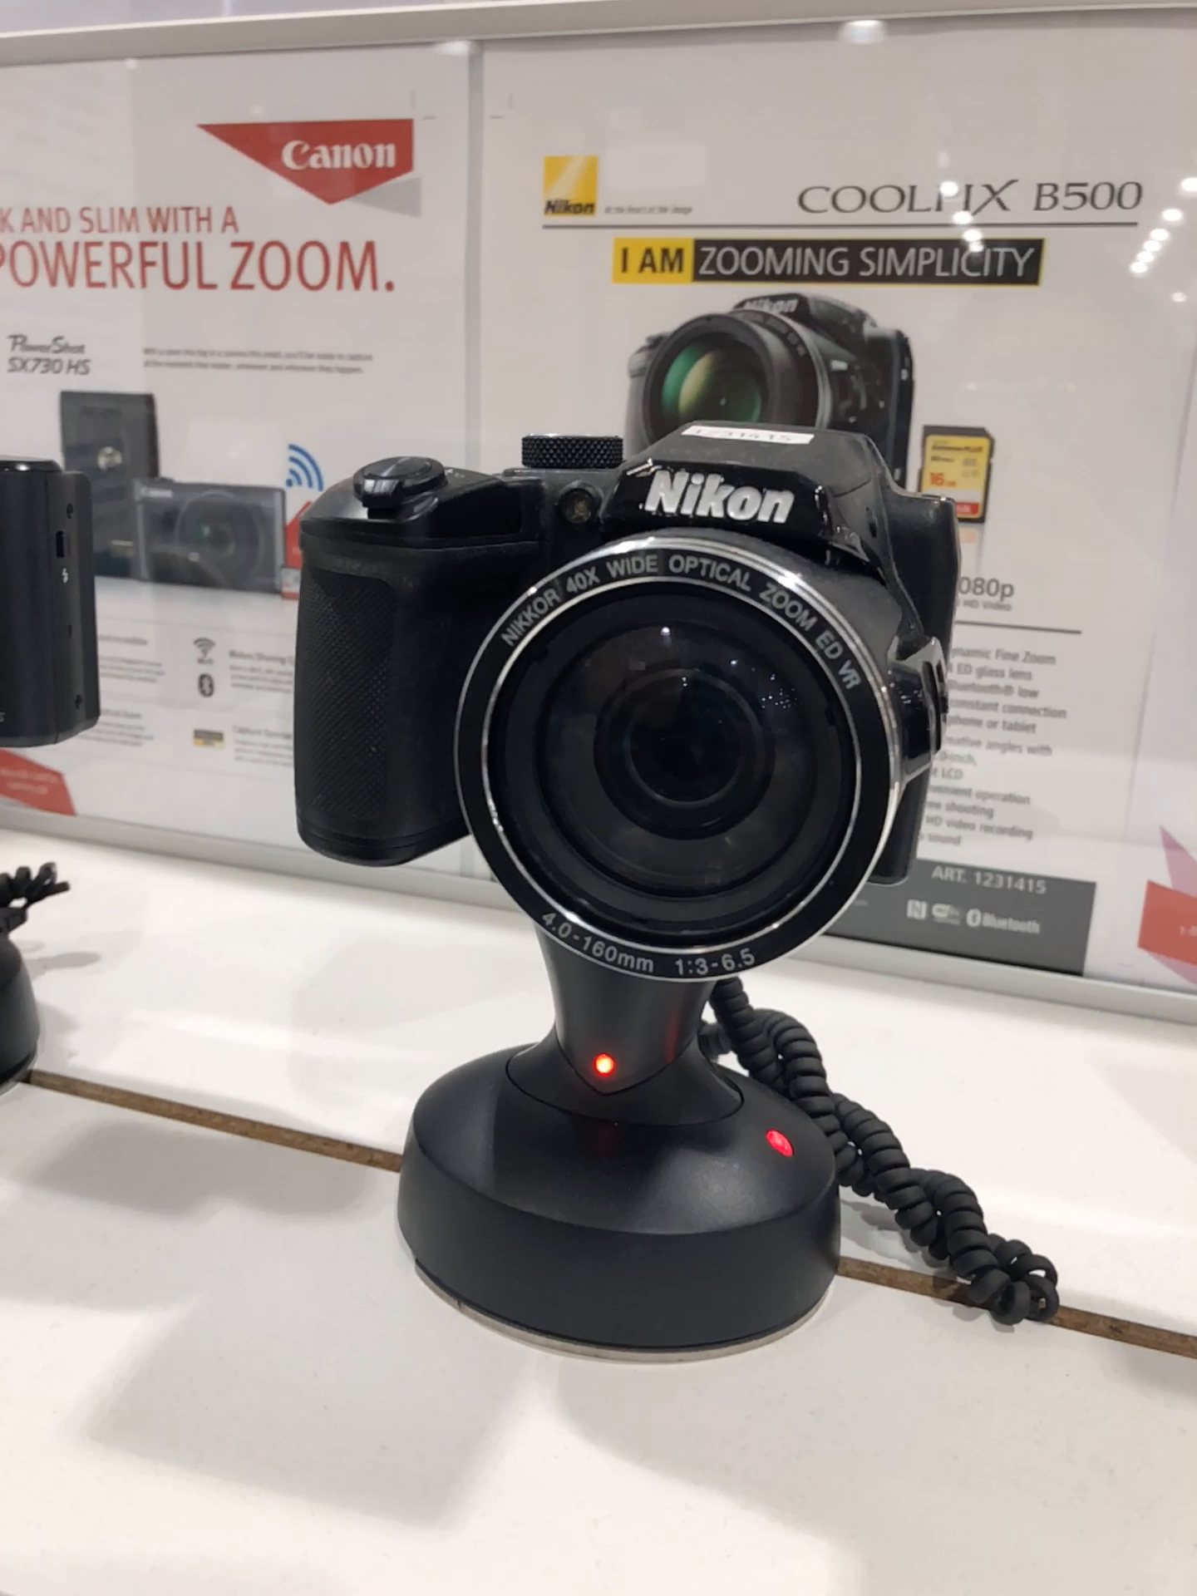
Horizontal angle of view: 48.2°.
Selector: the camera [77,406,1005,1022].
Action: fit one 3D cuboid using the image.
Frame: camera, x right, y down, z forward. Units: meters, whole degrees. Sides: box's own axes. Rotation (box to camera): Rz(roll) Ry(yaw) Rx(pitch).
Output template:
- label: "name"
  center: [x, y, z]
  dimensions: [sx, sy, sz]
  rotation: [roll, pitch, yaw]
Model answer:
- label: "camera"
  center: [0.000, -0.026, 0.221]
  dimensions: [0.120, 0.070, 0.100]
  rotation: [7, 17, 16]
